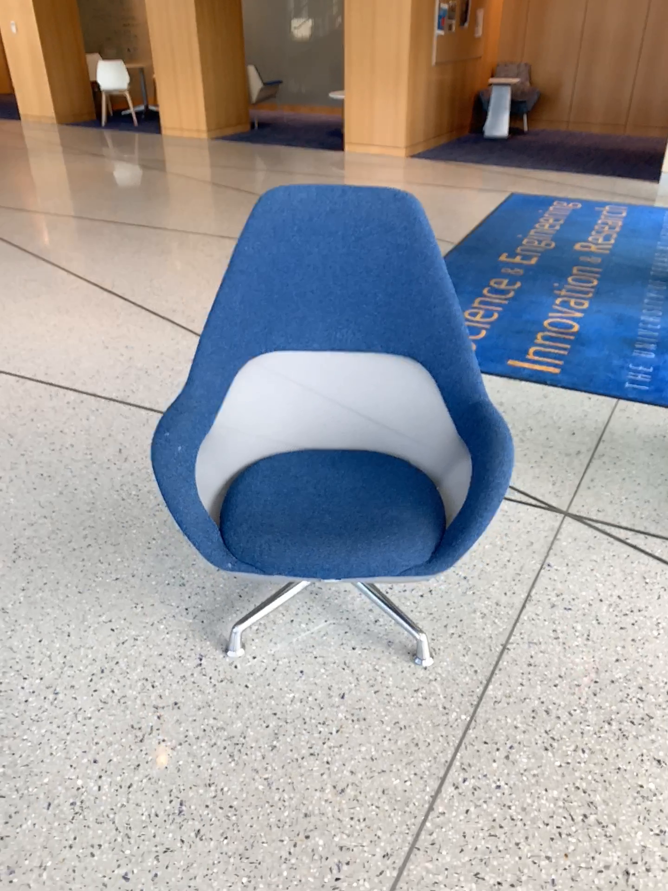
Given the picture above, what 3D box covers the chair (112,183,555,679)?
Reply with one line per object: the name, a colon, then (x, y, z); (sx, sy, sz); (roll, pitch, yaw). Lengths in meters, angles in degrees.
chair: (0.020, -0.077, 1.698); (0.724, 0.933, 0.791); (1, 31, 3)
